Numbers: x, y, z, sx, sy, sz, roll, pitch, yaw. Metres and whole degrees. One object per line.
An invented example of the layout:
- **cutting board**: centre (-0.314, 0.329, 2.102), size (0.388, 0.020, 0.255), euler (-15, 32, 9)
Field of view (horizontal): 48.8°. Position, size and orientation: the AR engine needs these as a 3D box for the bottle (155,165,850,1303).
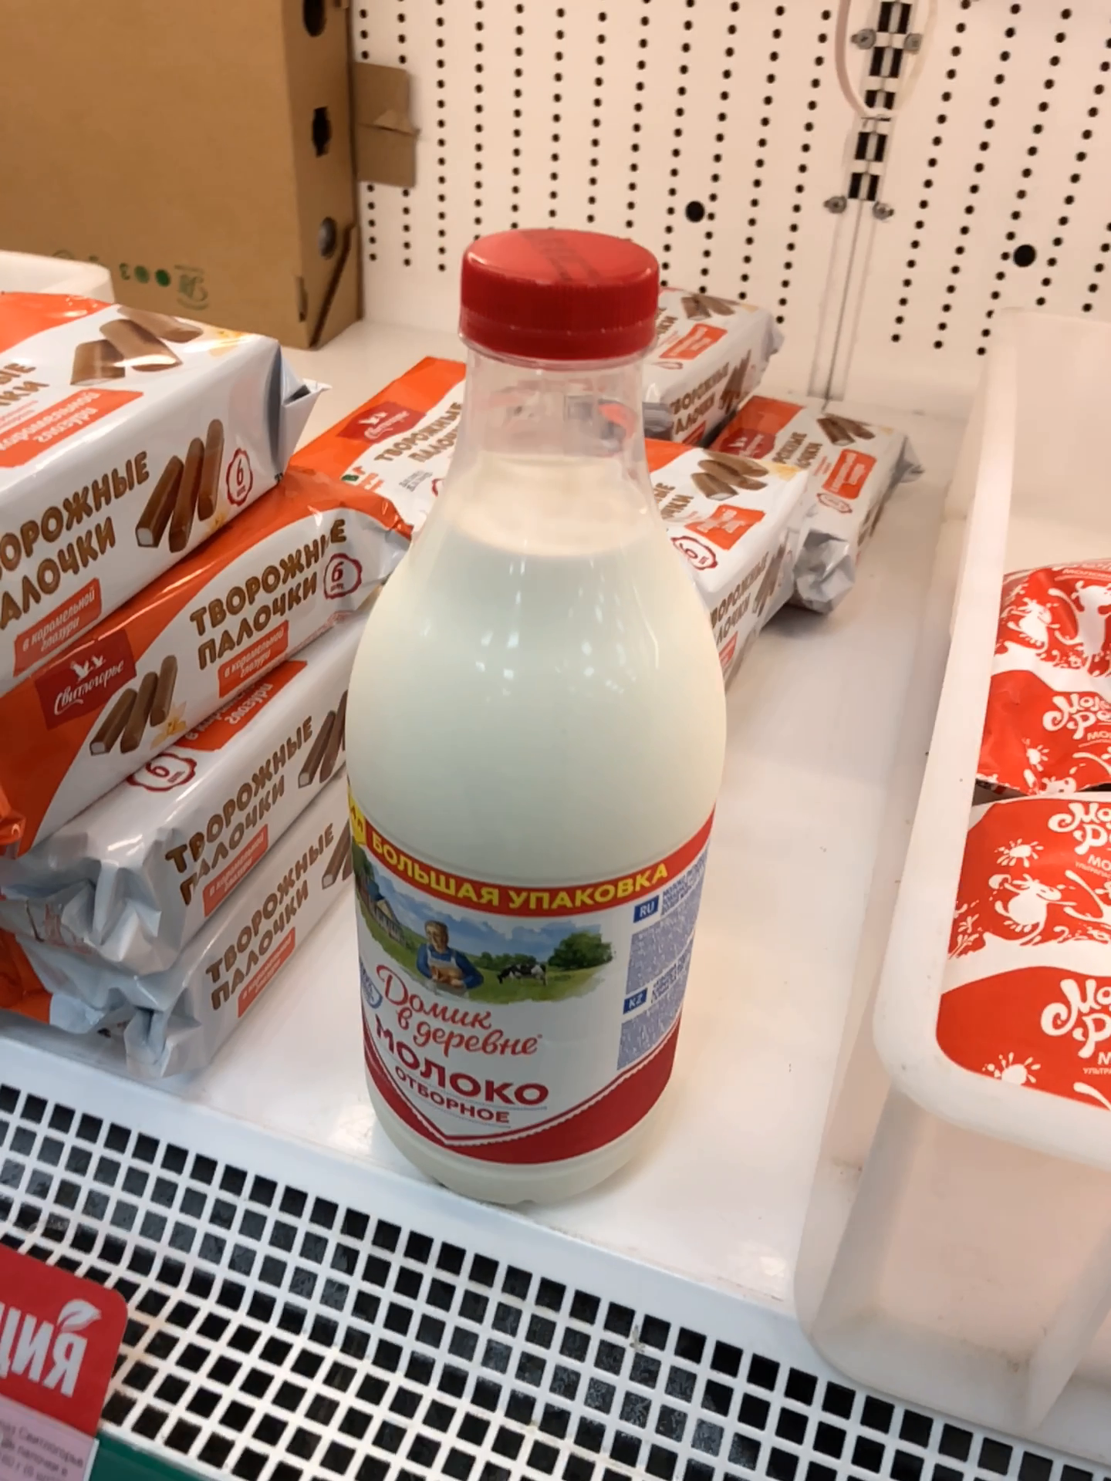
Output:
- **bottle**: centre (-0.011, 0.013, 0.326), size (0.110, 0.278, 0.090), euler (17, 38, 18)
